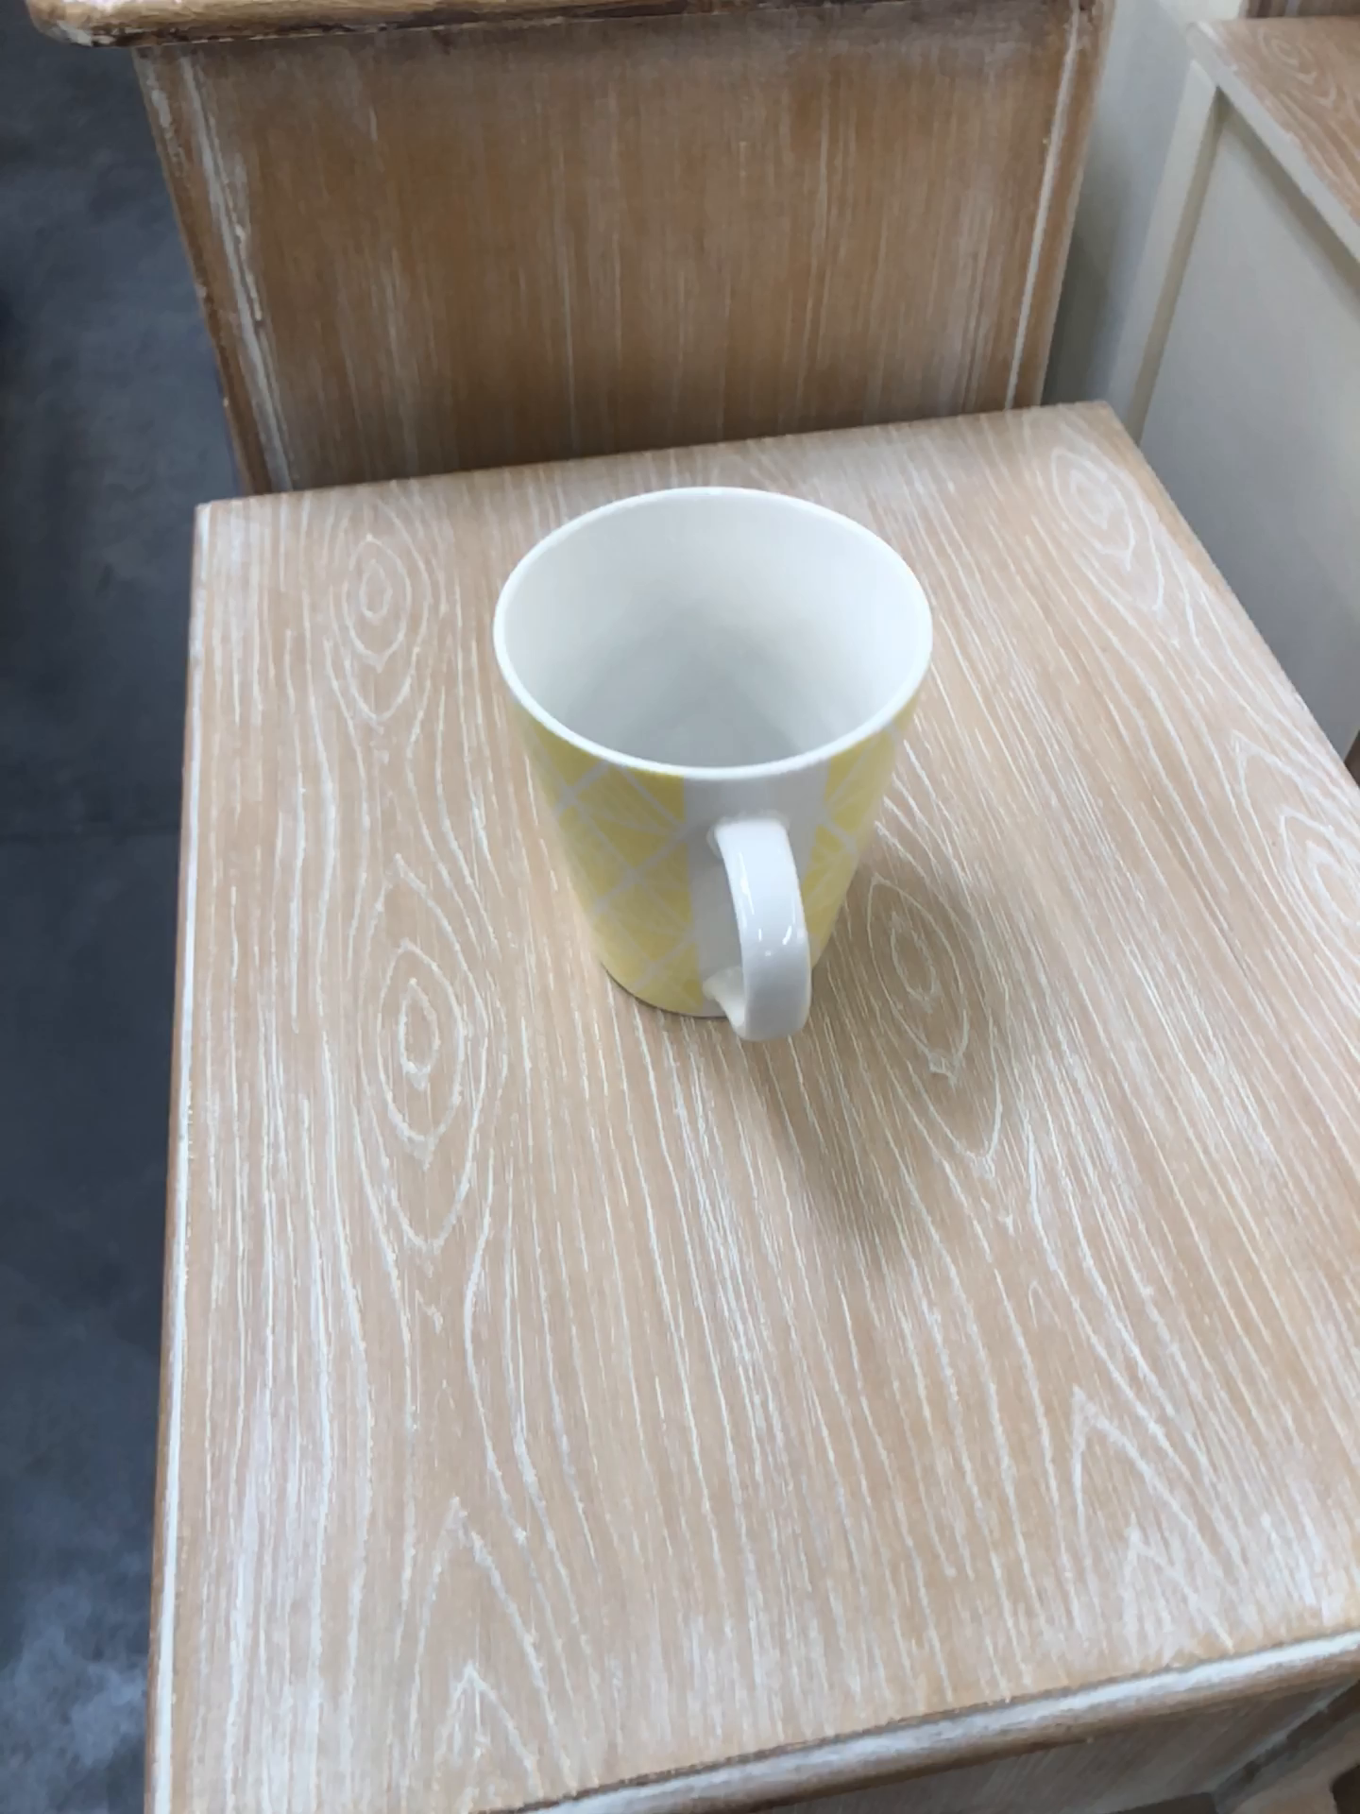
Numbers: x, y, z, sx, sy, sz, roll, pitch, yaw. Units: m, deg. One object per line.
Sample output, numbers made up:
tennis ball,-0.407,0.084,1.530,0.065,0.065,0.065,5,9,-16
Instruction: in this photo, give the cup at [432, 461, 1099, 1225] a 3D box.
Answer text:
cup,0.010,-0.017,0.331,0.102,0.090,0.125,-10,51,-9
